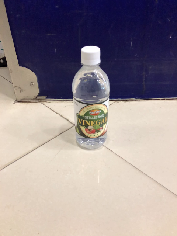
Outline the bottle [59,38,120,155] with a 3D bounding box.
[{"bbox_3d":[0.000,-0.031,0.345,0.080,0.189,0.070,-6,36,-7],"label":"bottle"}]
